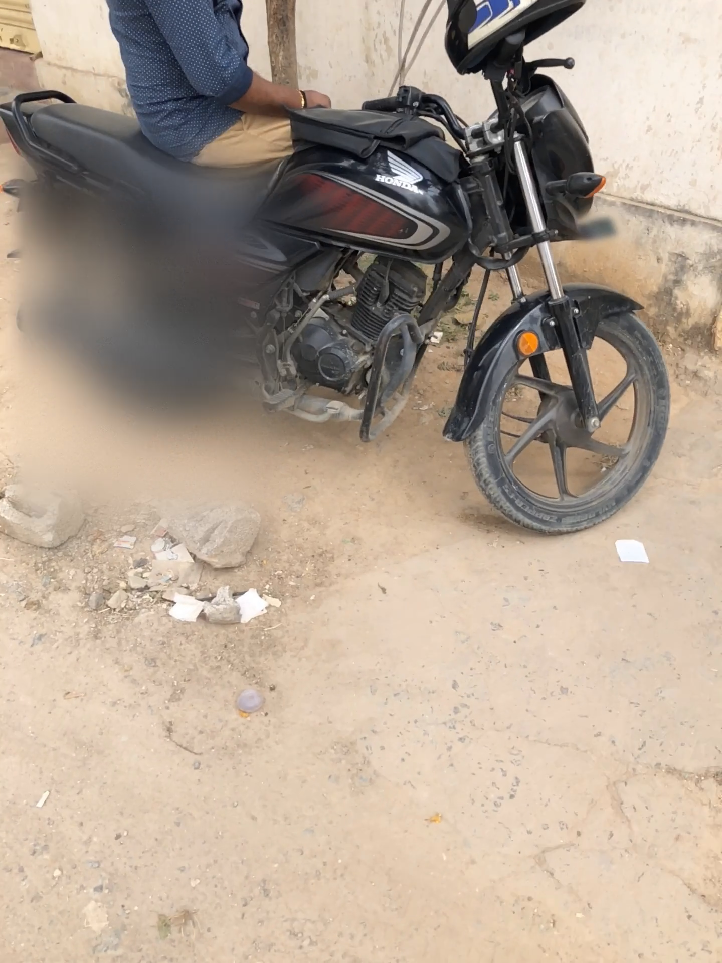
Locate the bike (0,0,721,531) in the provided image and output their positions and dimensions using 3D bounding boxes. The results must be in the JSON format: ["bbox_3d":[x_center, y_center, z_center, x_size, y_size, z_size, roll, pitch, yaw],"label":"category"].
[{"bbox_3d":[-0.016,-0.628,2.040,1.663,1.069,0.726,9,41,10],"label":"bike"}]
